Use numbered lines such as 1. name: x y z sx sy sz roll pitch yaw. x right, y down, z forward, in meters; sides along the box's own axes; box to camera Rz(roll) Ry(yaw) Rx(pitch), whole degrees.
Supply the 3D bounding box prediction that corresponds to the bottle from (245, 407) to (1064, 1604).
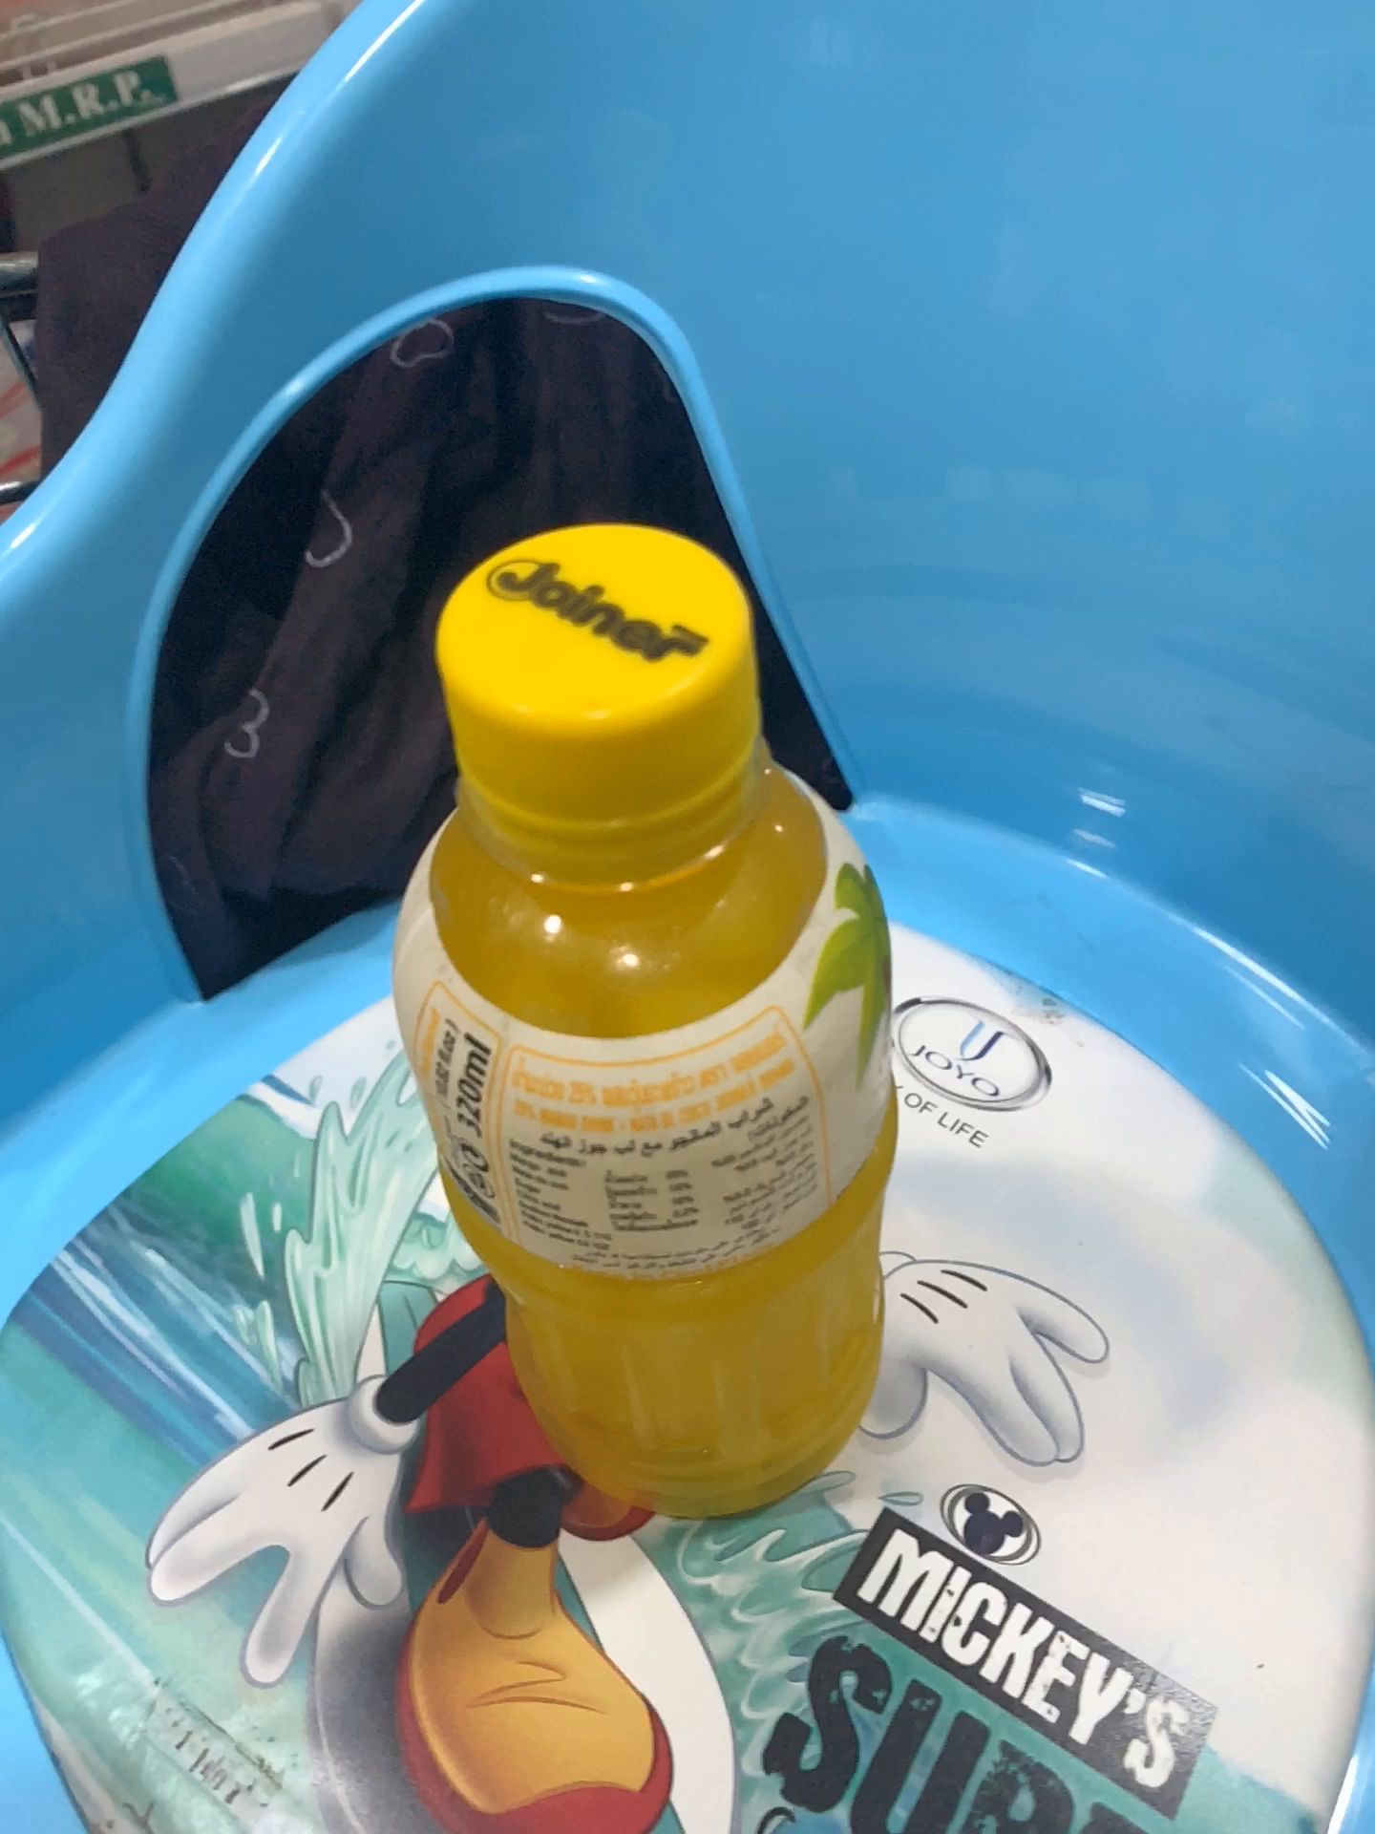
1. bottle: -0.005 0.021 0.178 0.060 0.139 0.060 -1 45 1
